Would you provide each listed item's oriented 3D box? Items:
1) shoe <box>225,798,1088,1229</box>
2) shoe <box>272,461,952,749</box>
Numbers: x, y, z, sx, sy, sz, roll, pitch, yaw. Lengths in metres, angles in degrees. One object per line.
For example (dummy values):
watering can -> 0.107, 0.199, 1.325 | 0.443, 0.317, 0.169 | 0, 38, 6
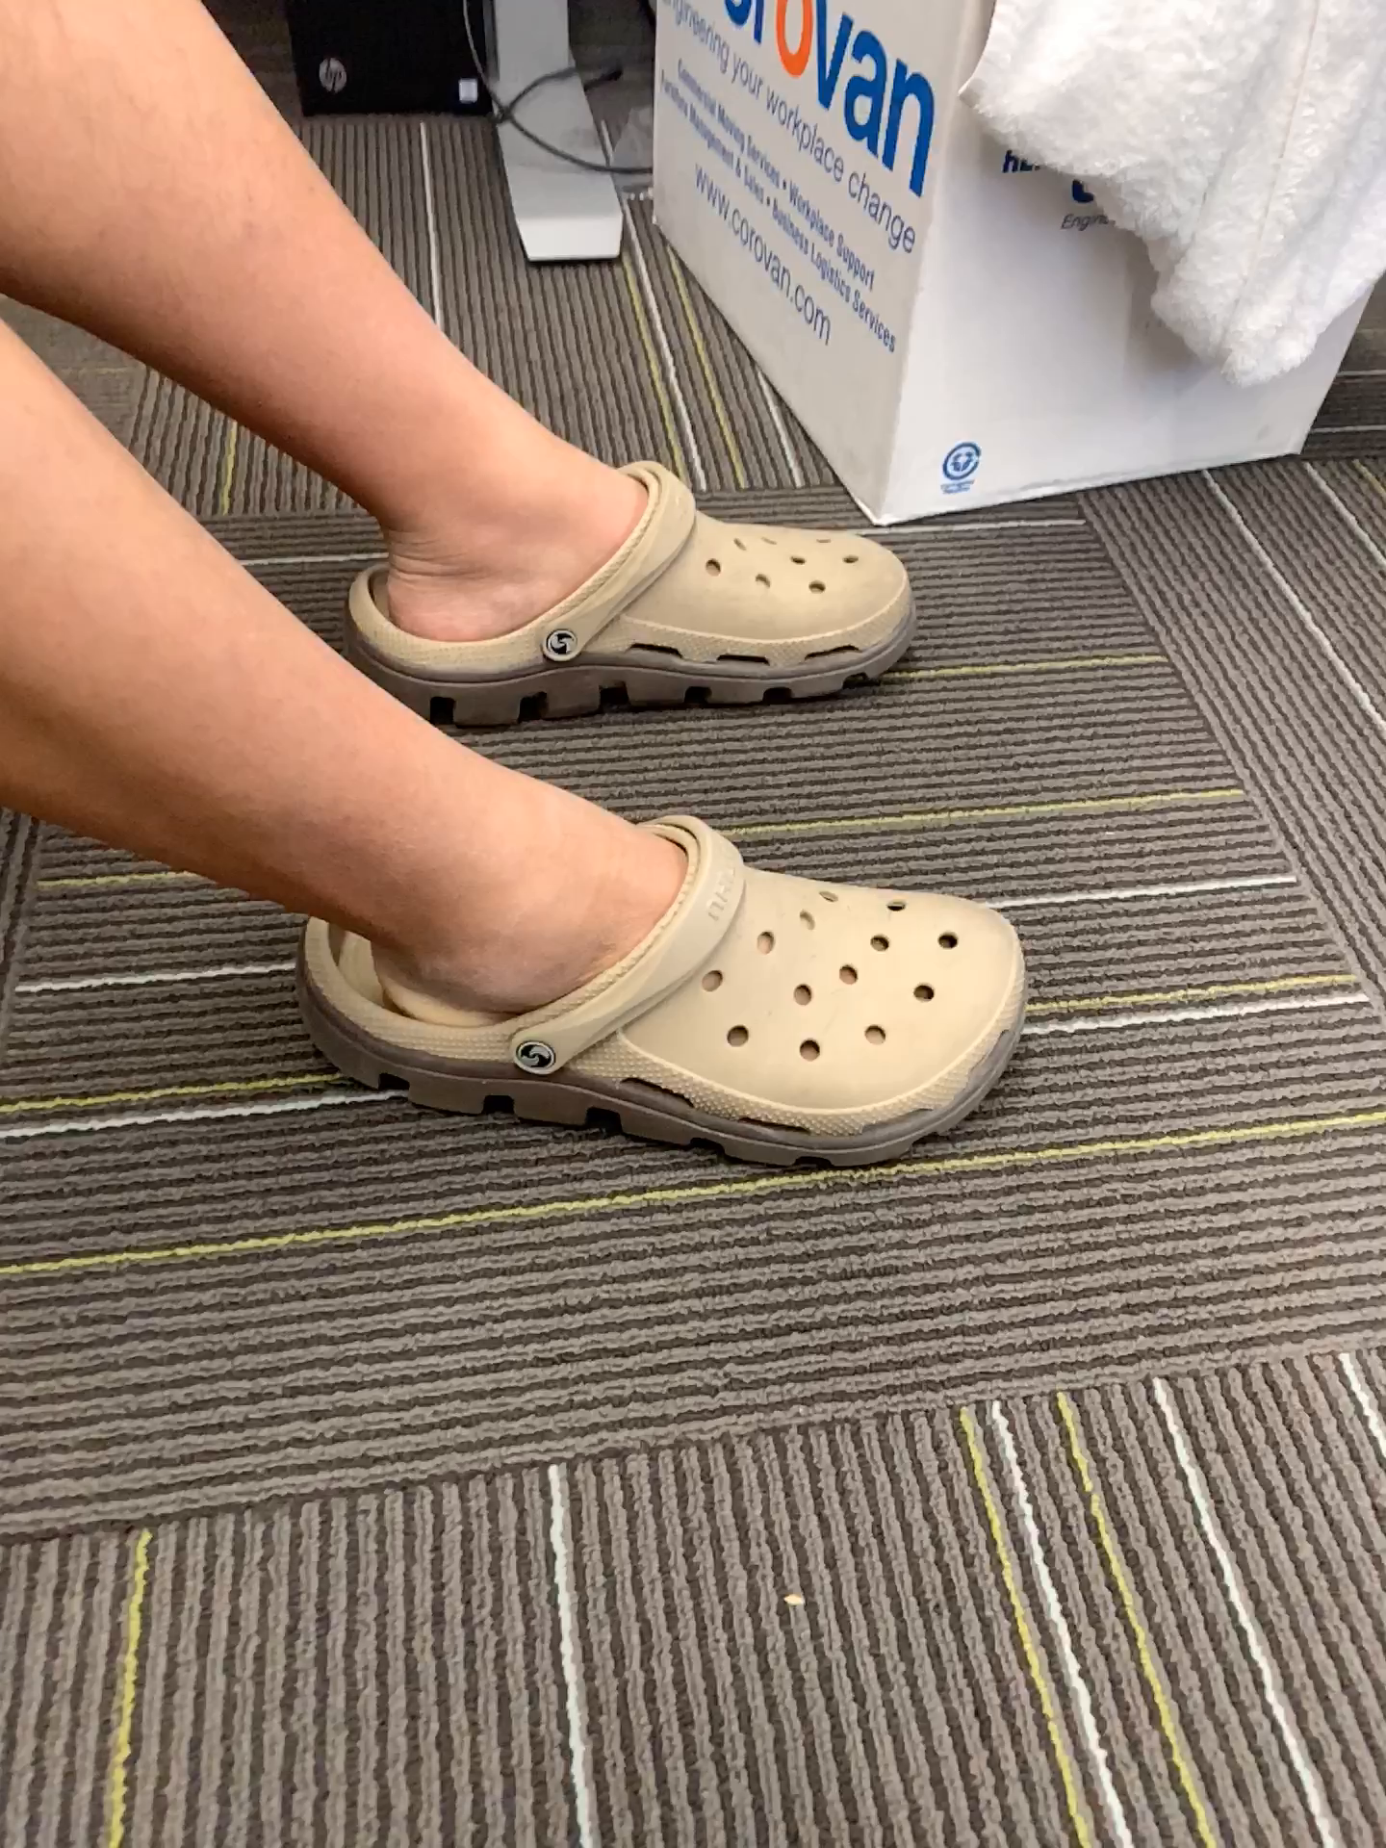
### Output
shoe -> -0.011, 0.035, 0.597 | 0.320, 0.080, 0.135 | 5, 49, 1
shoe -> -0.043, -0.175, 0.763 | 0.330, 0.079, 0.141 | -2, 49, -5
